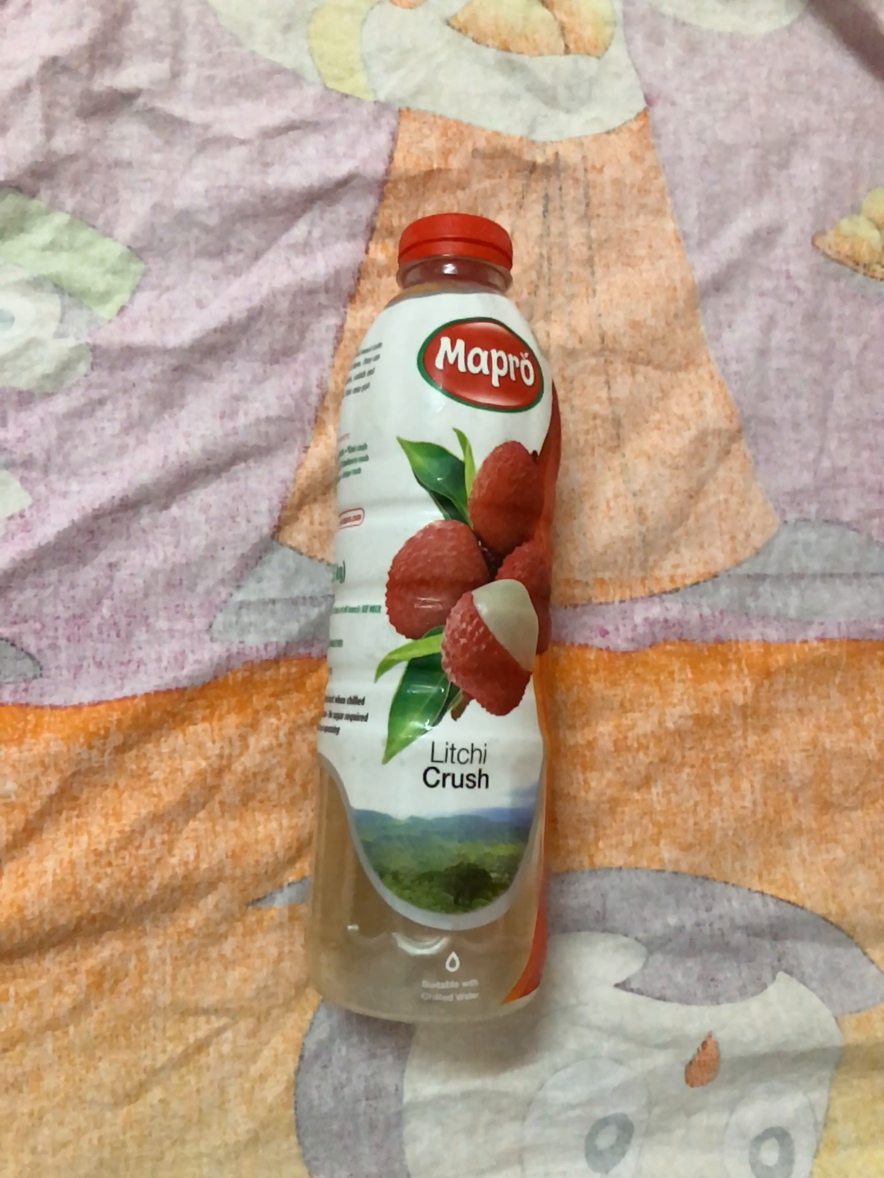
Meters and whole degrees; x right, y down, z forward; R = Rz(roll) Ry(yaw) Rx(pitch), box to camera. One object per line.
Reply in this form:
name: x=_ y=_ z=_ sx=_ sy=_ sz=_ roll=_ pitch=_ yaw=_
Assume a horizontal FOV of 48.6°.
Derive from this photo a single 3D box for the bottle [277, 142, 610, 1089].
bottle: x=-0.002 y=0.006 z=0.310 sx=0.080 sy=0.070 sz=0.260 roll=4 pitch=84 yaw=-11
